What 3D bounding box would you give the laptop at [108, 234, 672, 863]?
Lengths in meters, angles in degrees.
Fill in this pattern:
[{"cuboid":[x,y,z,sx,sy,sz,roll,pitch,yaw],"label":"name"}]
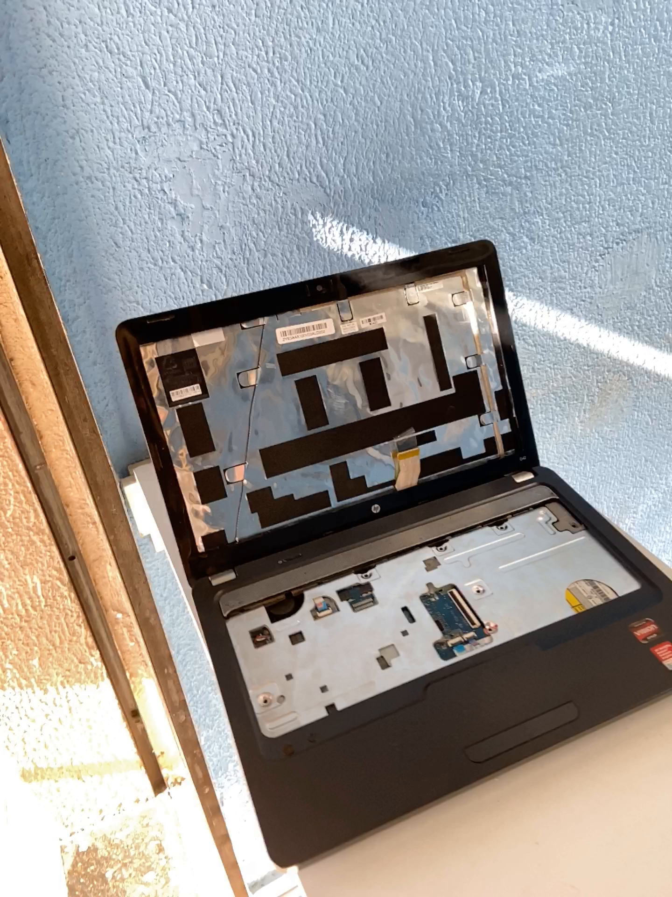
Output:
[{"cuboid":[0.050,0.017,0.509,0.338,0.179,0.350,-16,39,-16],"label":"laptop"}]
